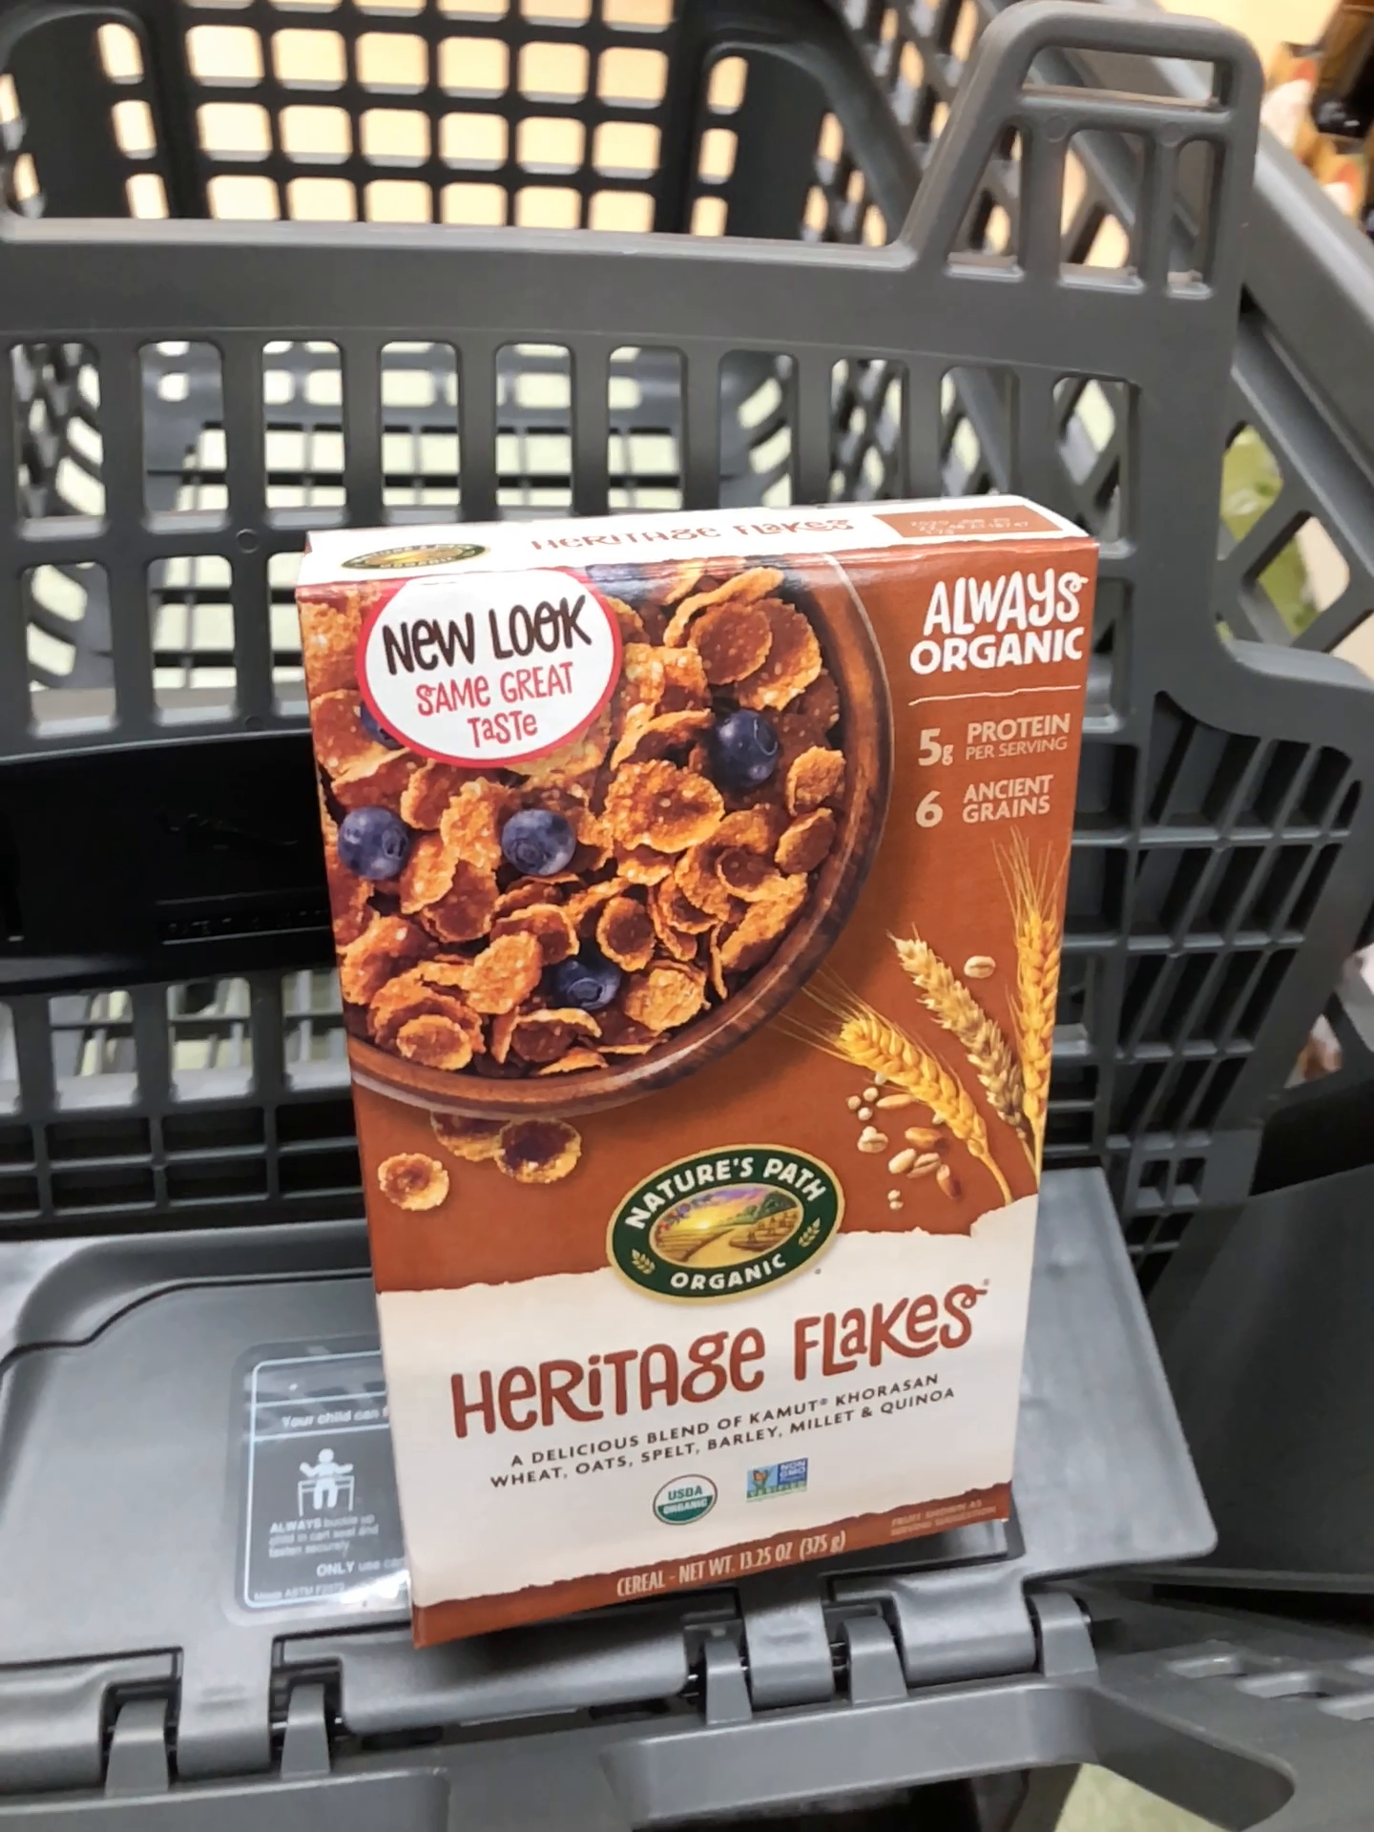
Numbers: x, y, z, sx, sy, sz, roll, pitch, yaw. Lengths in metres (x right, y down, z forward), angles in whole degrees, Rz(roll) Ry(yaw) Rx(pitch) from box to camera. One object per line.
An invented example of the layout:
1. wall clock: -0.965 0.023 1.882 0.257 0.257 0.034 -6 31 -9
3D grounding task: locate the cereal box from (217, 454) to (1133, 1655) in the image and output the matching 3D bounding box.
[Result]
1. cereal box: 0.001 0.032 0.348 0.170 0.250 0.060 -7 22 -12
